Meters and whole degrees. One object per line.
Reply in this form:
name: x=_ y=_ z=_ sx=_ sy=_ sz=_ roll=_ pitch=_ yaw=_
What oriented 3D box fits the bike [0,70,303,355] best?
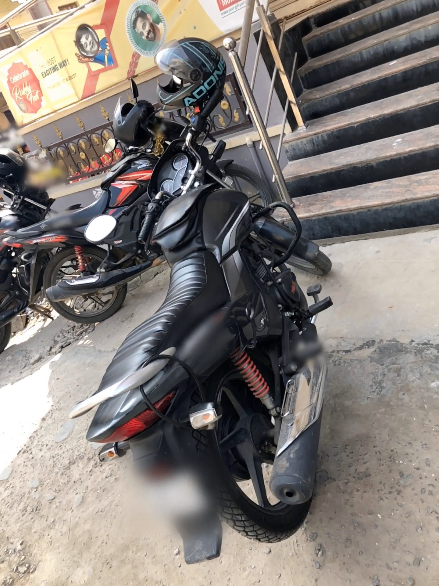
bike: x=-0.471 y=-0.543 z=3.104 sx=1.600 sy=1.057 sz=0.686 roll=-30 pitch=26 yaw=-11

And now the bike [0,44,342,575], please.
bike: x=-0.180 y=-0.115 z=1.930 sx=0.746 sy=1.156 sz=1.745 roll=-18 pitch=30 yaw=16
